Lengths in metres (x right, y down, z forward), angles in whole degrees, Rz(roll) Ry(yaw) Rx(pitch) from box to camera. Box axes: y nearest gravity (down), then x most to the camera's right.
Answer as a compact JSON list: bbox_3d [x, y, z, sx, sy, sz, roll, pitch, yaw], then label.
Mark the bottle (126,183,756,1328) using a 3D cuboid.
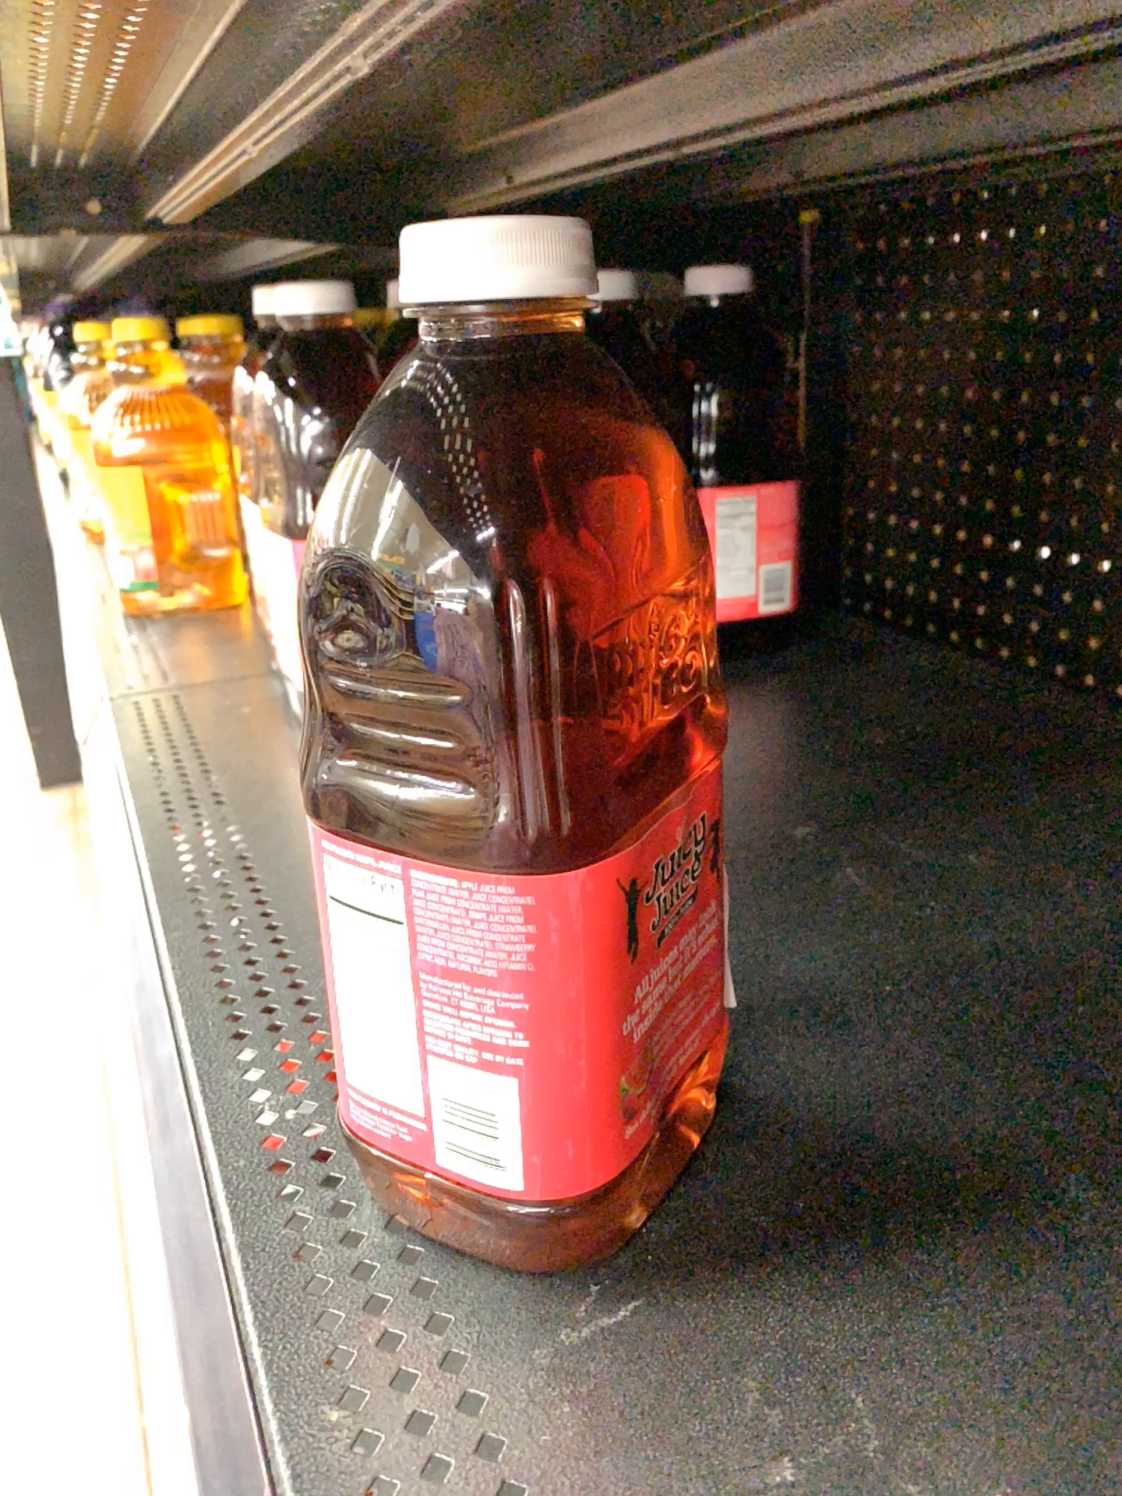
[{"bbox_3d":[-0.012,-0.003,0.312,0.090,0.255,0.125,7,24,27],"label":"bottle"}]
